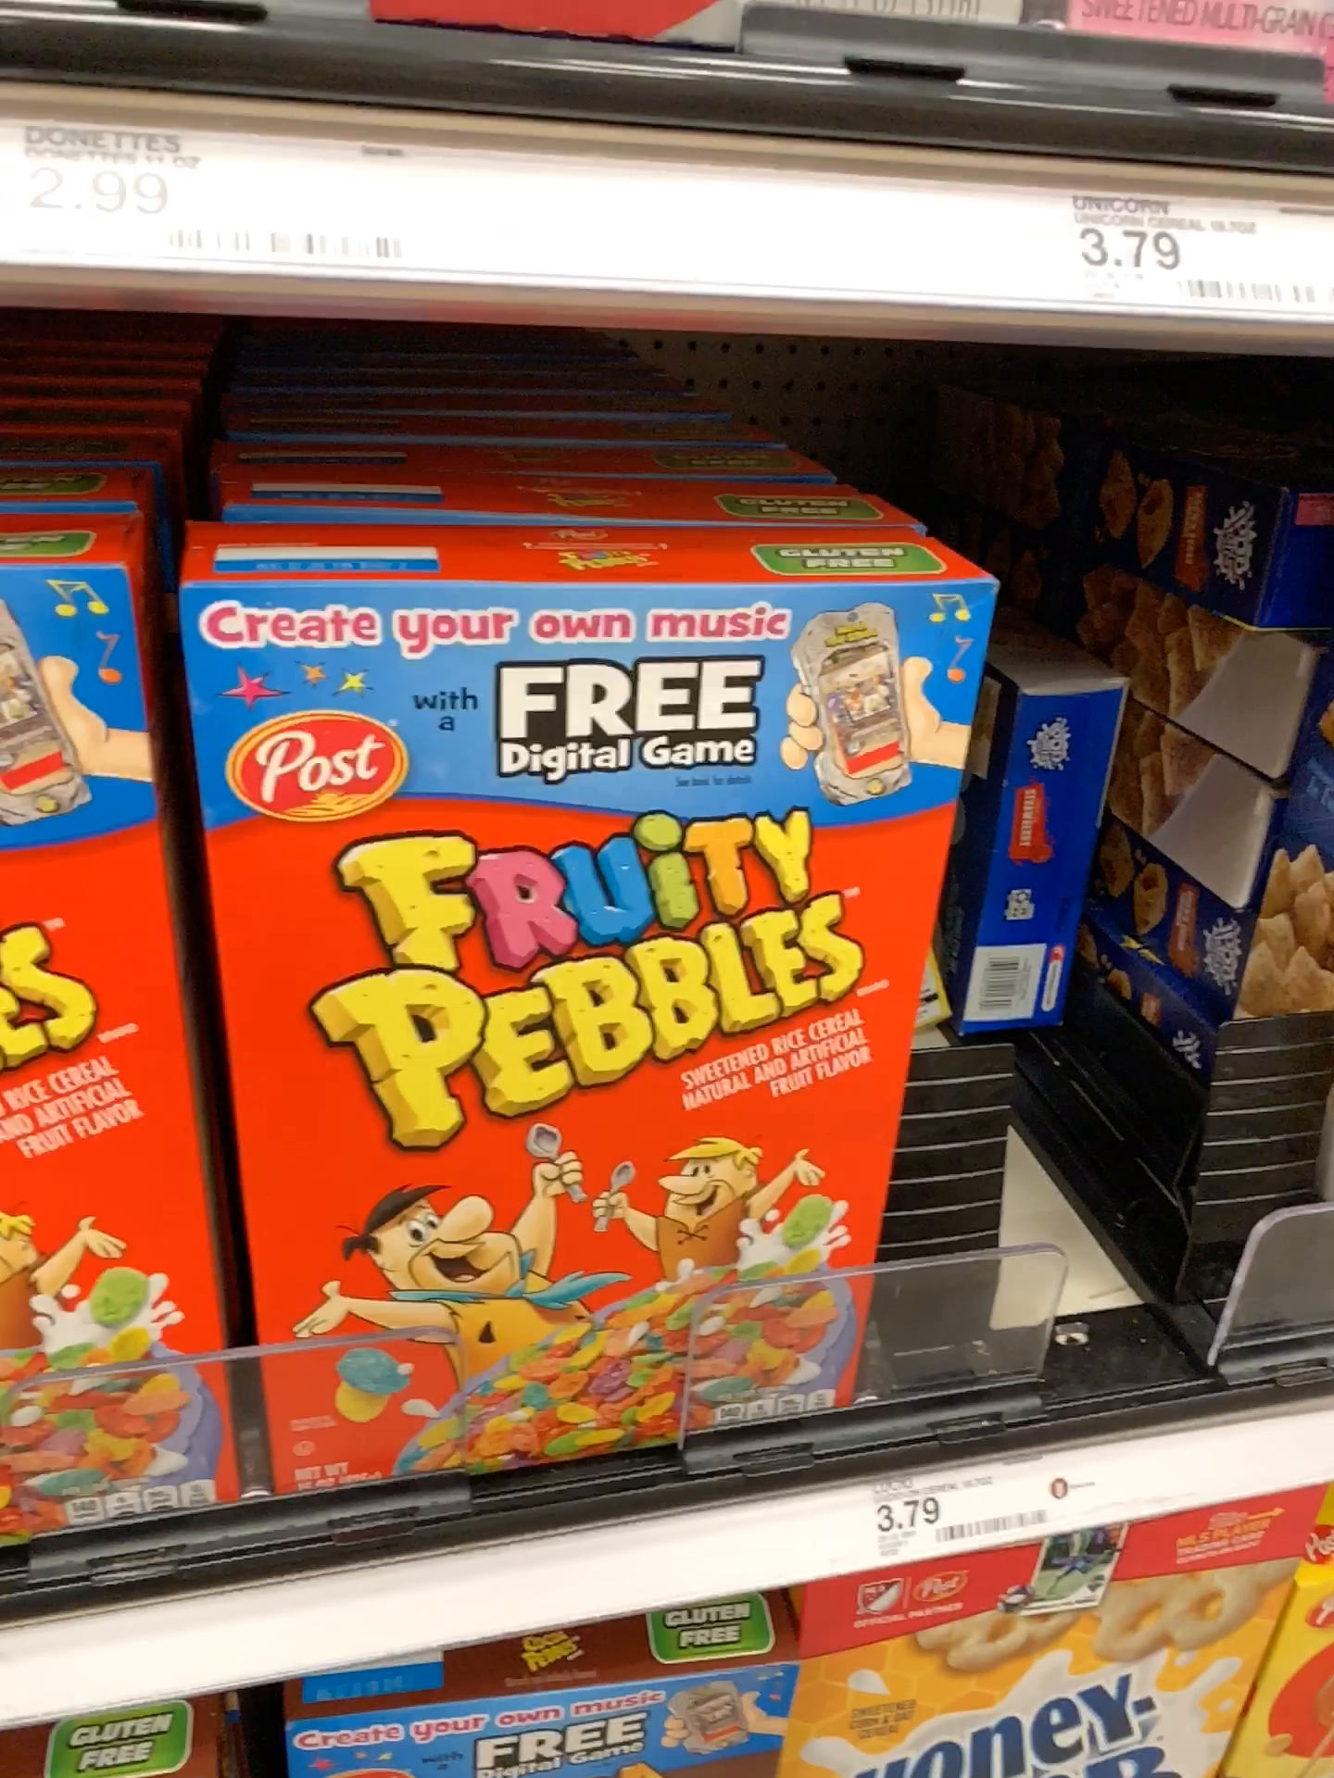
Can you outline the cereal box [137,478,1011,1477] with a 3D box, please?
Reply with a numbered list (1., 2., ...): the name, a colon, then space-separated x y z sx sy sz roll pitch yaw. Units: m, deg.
1. cereal box: -0.029 0.034 0.403 0.200 0.288 0.060 -4 29 -13
